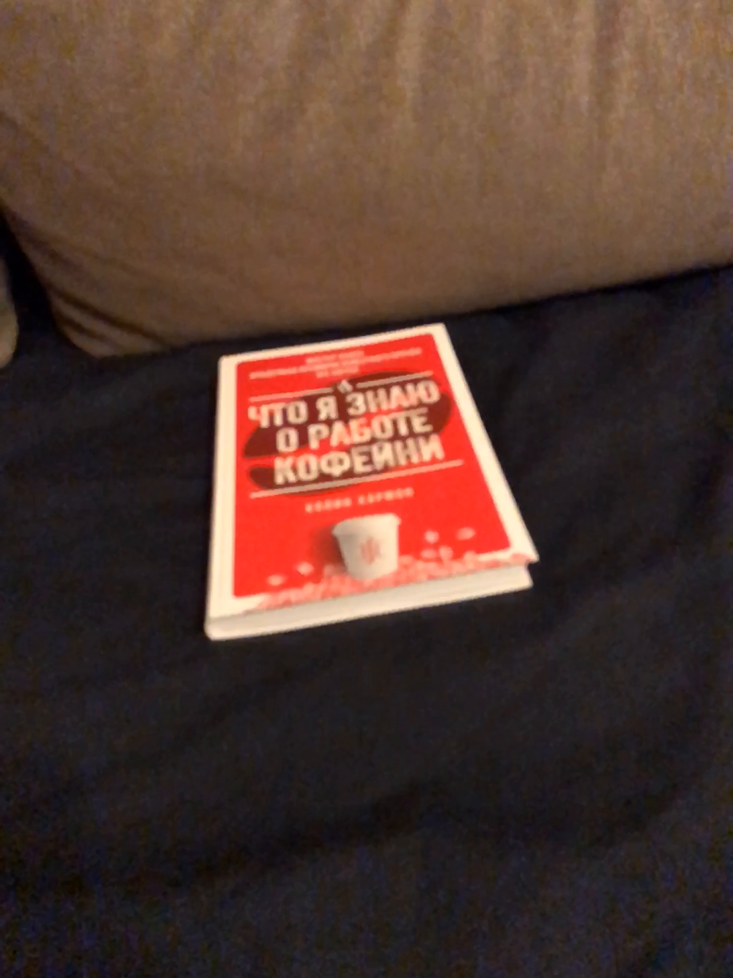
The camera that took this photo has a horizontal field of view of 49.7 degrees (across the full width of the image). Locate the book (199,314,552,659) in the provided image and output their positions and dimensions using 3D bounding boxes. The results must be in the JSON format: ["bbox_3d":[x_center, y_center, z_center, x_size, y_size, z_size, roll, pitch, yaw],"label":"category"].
[{"bbox_3d":[-0.008,-0.018,0.428,0.153,0.020,0.224,-10,41,0],"label":"book"}]
